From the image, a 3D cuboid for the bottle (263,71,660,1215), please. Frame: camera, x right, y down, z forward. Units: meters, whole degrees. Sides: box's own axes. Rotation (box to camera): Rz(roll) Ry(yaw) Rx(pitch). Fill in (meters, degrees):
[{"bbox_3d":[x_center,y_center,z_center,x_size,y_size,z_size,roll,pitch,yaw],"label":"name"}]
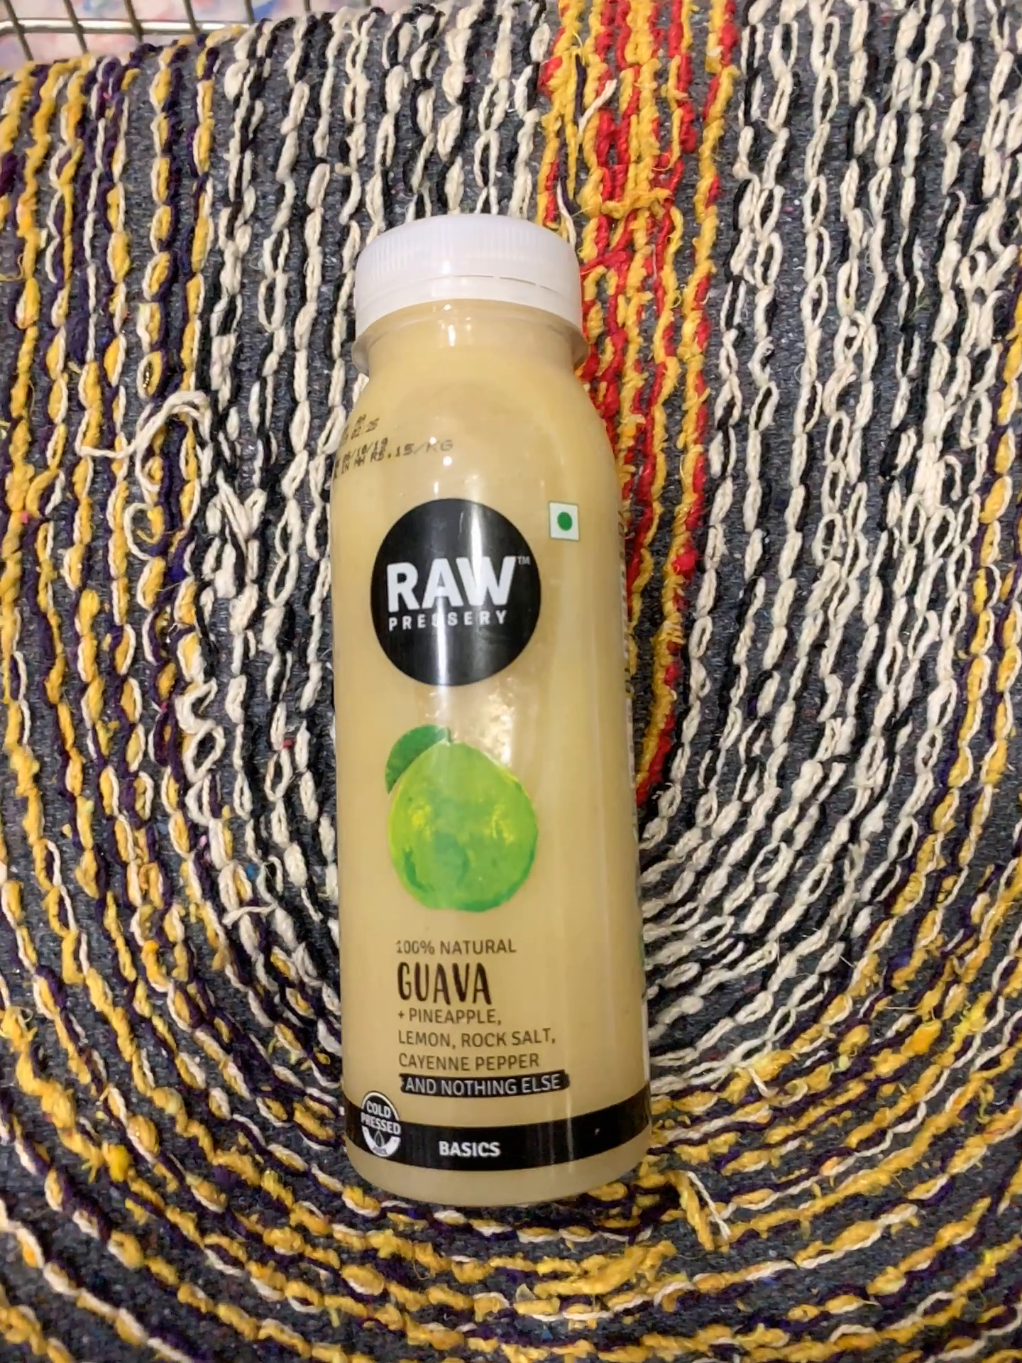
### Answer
[{"bbox_3d":[-0.007,-0.007,0.169,0.050,0.040,0.160,-3,84,6],"label":"bottle"}]
